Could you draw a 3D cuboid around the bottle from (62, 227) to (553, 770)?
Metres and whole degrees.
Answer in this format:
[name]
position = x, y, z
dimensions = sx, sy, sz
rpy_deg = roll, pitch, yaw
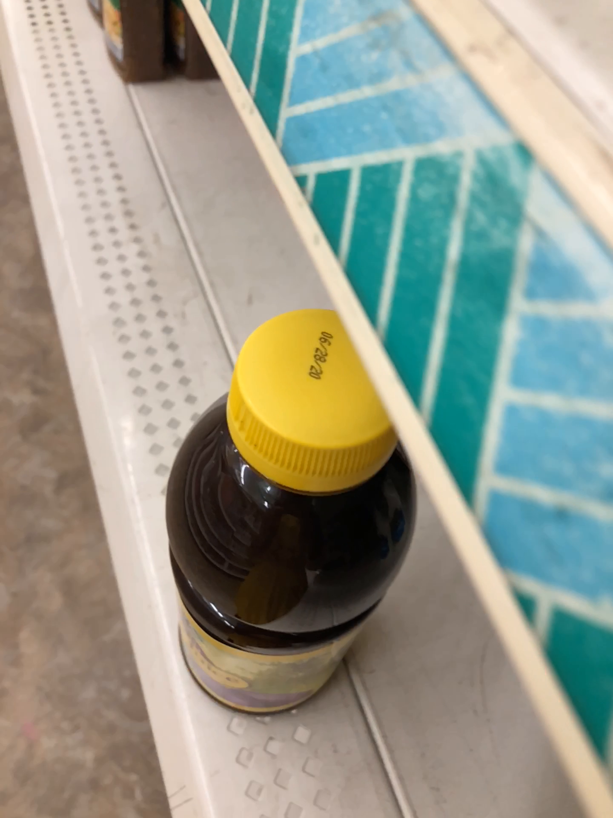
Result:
[bottle]
position = -0.013, 0.045, 0.221
dimensions = 0.080, 0.181, 0.080
rpy_deg = 4, 56, -5
